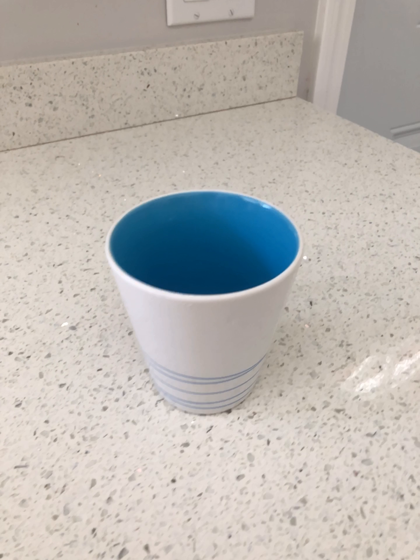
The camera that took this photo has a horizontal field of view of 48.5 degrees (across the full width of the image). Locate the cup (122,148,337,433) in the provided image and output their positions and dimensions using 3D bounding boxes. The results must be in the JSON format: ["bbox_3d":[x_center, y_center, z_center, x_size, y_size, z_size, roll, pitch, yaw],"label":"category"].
[{"bbox_3d":[0.002,-0.001,0.247,0.080,0.090,0.121,-3,39,-5],"label":"cup"}]
